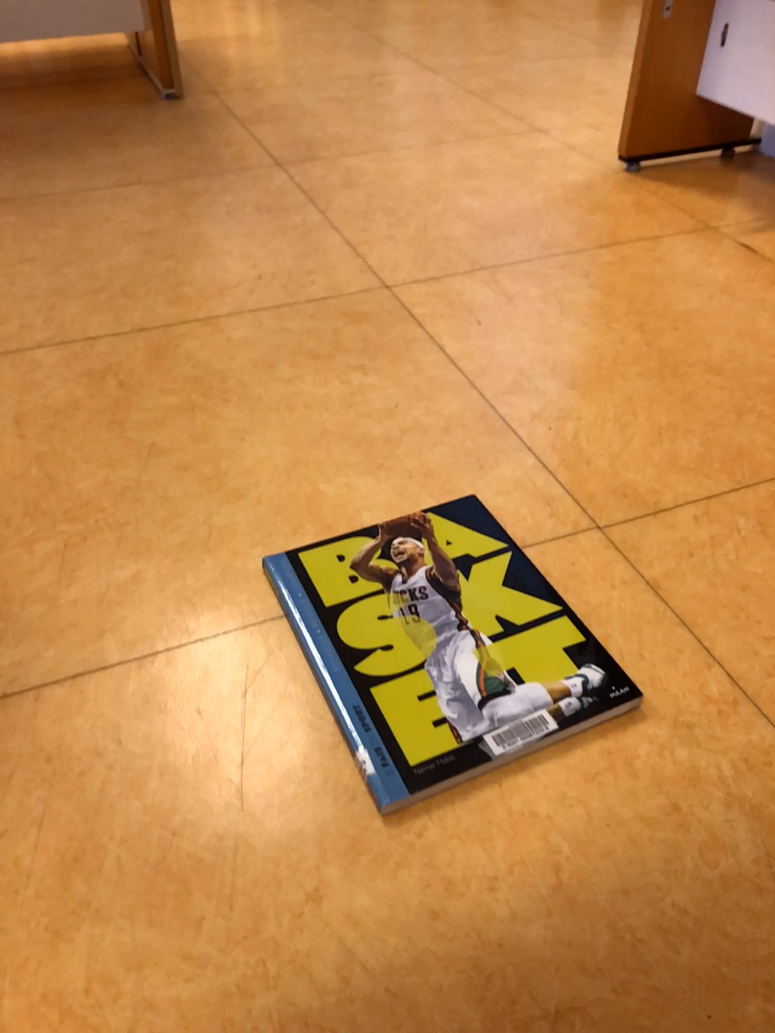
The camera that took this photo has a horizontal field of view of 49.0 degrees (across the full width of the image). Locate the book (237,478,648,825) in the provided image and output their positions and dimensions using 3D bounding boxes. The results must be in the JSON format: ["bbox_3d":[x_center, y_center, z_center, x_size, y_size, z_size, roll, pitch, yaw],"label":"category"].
[{"bbox_3d":[0.027,0.074,0.608,0.200,0.020,0.245,-17,43,-19],"label":"book"}]
